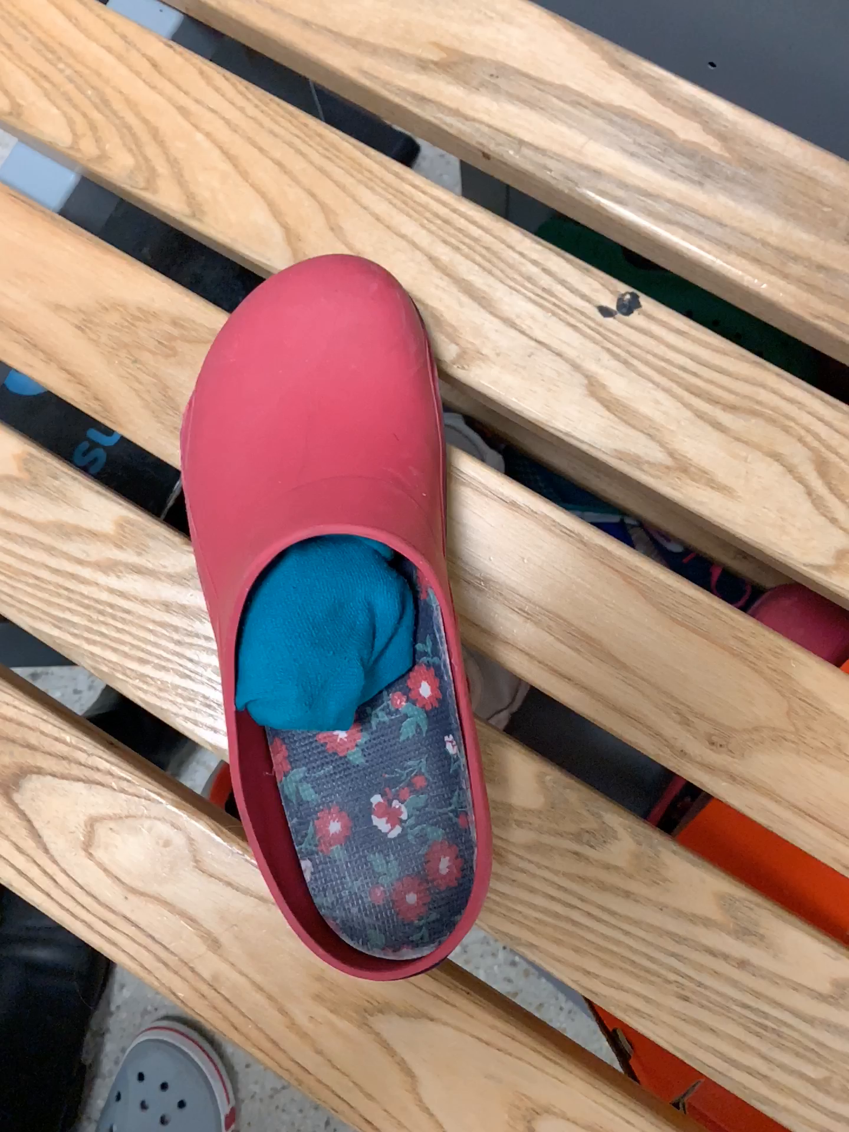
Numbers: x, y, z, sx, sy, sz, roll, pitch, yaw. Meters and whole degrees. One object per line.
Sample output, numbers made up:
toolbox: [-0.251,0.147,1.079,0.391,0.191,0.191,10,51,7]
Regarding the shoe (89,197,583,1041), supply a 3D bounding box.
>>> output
shoe: [-0.029,0.014,0.302,0.106,0.077,0.238,-12,83,3]
